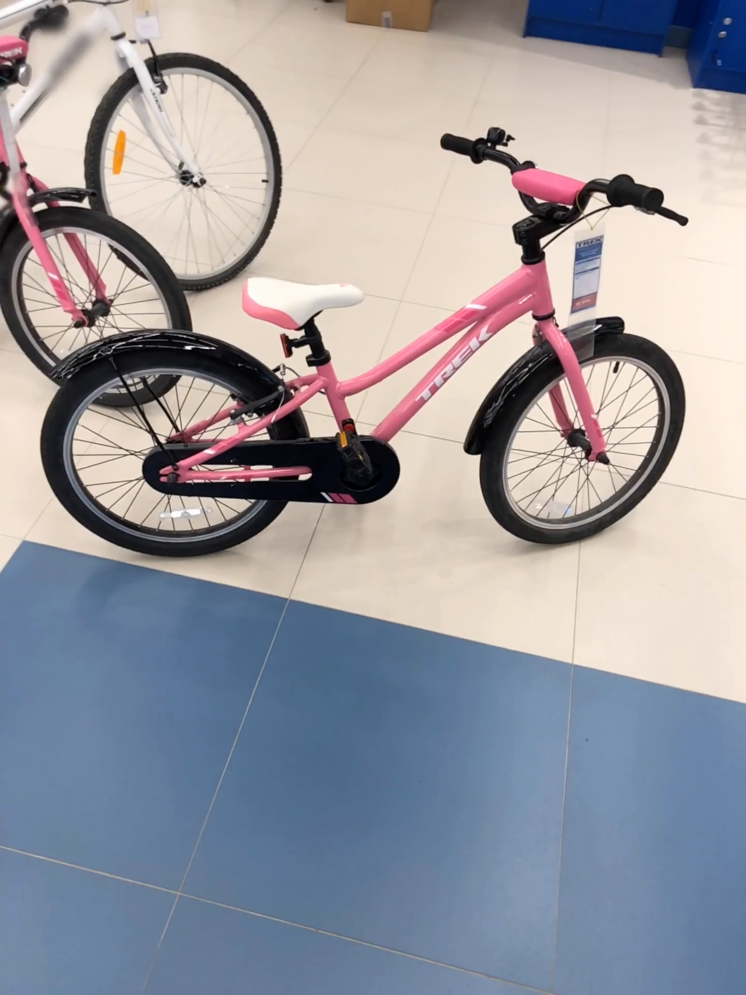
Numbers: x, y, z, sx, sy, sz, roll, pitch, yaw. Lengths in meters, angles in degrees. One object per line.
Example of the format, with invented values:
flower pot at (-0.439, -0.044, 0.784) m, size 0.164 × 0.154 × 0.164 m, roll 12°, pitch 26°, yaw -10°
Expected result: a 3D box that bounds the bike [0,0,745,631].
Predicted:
bike at (0.038, -0.335, 1.540) m, size 1.296 × 0.835 × 0.558 m, roll -8°, pitch 45°, yaw -7°
